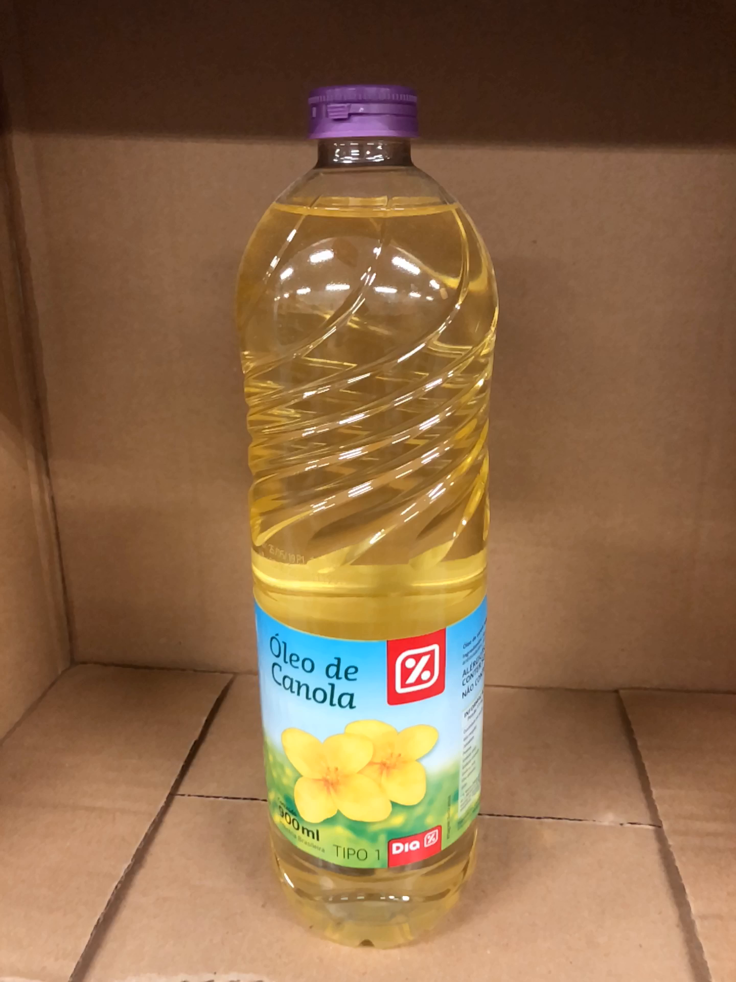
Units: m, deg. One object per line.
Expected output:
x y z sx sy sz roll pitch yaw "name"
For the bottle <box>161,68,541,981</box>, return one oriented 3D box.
-0.001 0.026 0.246 0.080 0.268 0.050 3 23 6 "bottle"
